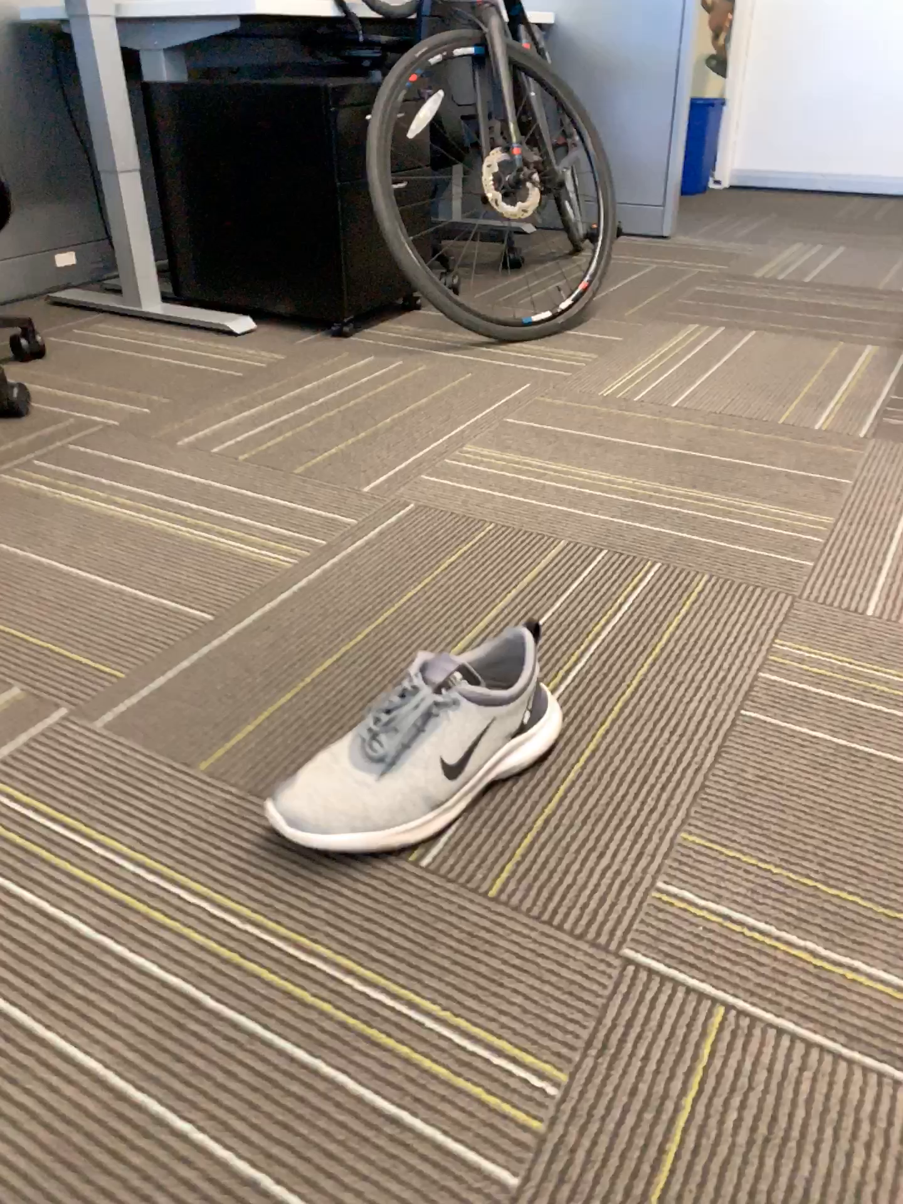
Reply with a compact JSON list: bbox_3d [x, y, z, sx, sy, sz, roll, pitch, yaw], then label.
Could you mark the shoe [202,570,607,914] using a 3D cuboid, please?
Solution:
[{"bbox_3d":[-0.030,0.104,0.826,0.331,0.109,0.161,-27,40,-36],"label":"shoe"}]
